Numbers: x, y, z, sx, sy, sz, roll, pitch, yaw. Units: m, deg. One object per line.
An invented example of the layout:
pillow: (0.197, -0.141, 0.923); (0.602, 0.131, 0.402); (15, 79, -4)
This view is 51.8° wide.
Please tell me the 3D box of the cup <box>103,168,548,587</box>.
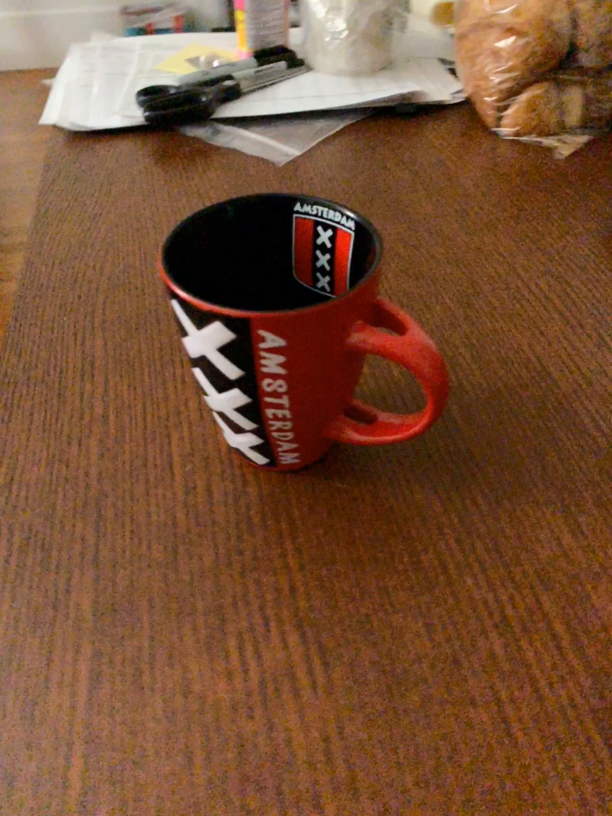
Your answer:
cup: (0.008, -0.018, 0.259); (0.130, 0.099, 0.090); (25, 51, 24)
